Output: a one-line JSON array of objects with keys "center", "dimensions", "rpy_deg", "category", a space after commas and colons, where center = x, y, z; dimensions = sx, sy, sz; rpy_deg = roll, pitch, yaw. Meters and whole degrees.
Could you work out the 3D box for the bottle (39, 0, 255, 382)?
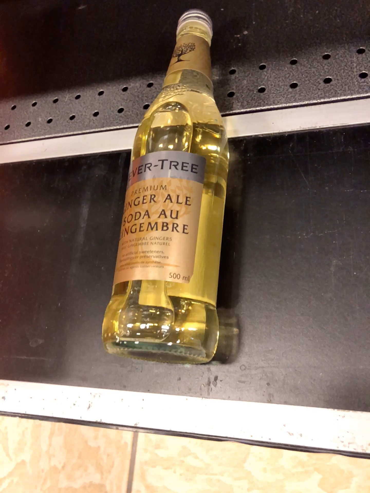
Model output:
[{"center": [-0.006, -0.059, 0.290], "dimensions": [0.090, 0.090, 0.280], "rpy_deg": [-2, 66, 18], "category": "bottle"}]
